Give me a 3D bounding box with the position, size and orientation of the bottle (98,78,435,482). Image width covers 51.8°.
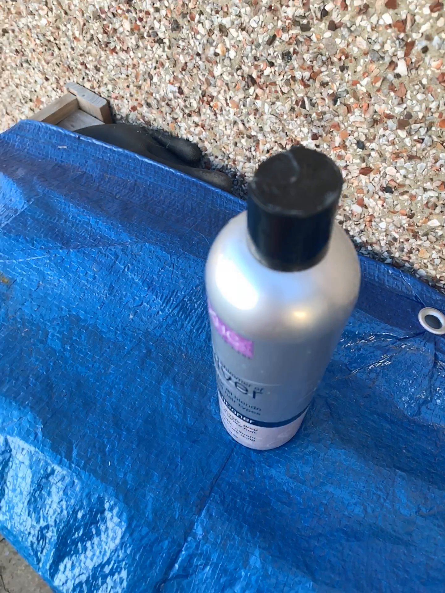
[{"bbox_3d":[0.015,0.020,0.210,0.060,0.199,0.070,-34,63,-16],"label":"bottle"}]
